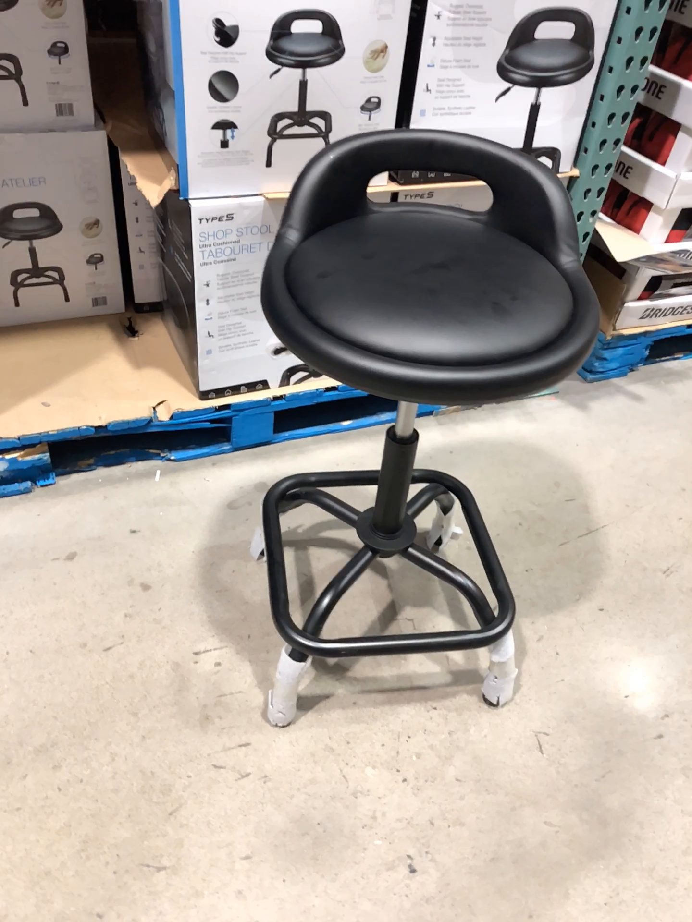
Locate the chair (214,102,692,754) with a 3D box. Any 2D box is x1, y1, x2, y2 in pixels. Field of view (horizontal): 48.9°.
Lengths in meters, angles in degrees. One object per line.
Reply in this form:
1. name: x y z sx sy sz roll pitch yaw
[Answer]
1. chair: 0.068 -0.029 1.095 0.480 0.747 0.512 -2 42 -10
